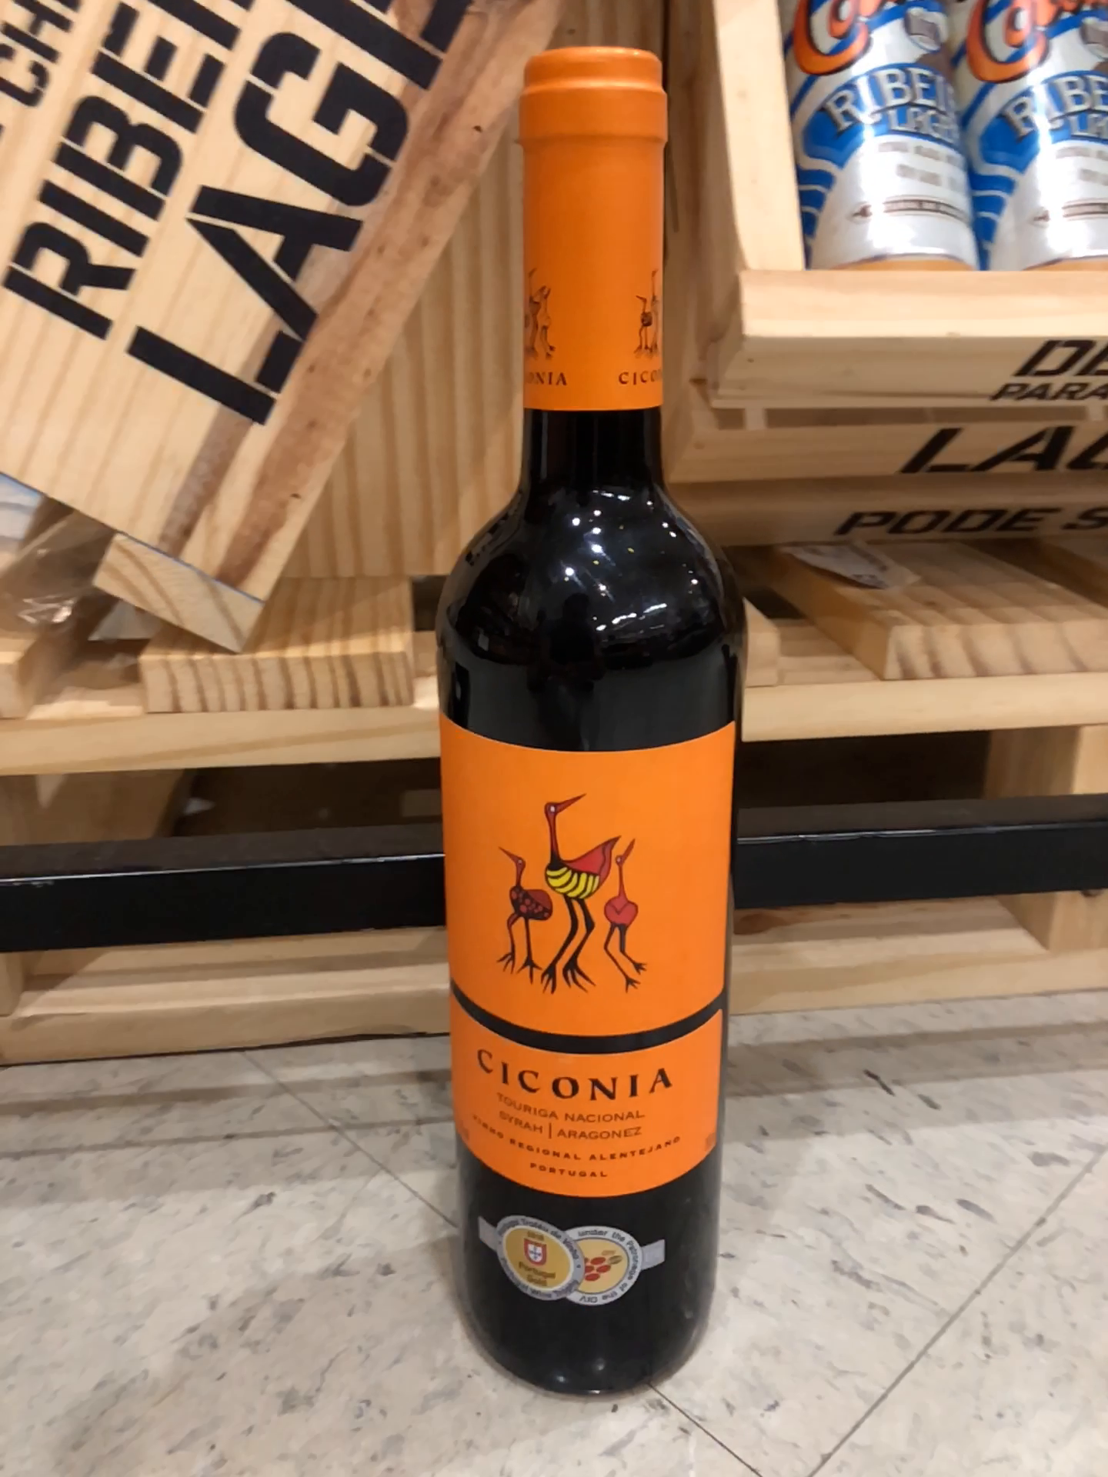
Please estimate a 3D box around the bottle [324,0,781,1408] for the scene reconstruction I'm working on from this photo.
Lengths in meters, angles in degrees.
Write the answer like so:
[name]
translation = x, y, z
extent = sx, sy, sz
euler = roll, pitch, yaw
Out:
[bottle]
translation = 0.004, 0.008, 0.300
extent = 0.080, 0.318, 0.070
euler = 3, 20, 8
